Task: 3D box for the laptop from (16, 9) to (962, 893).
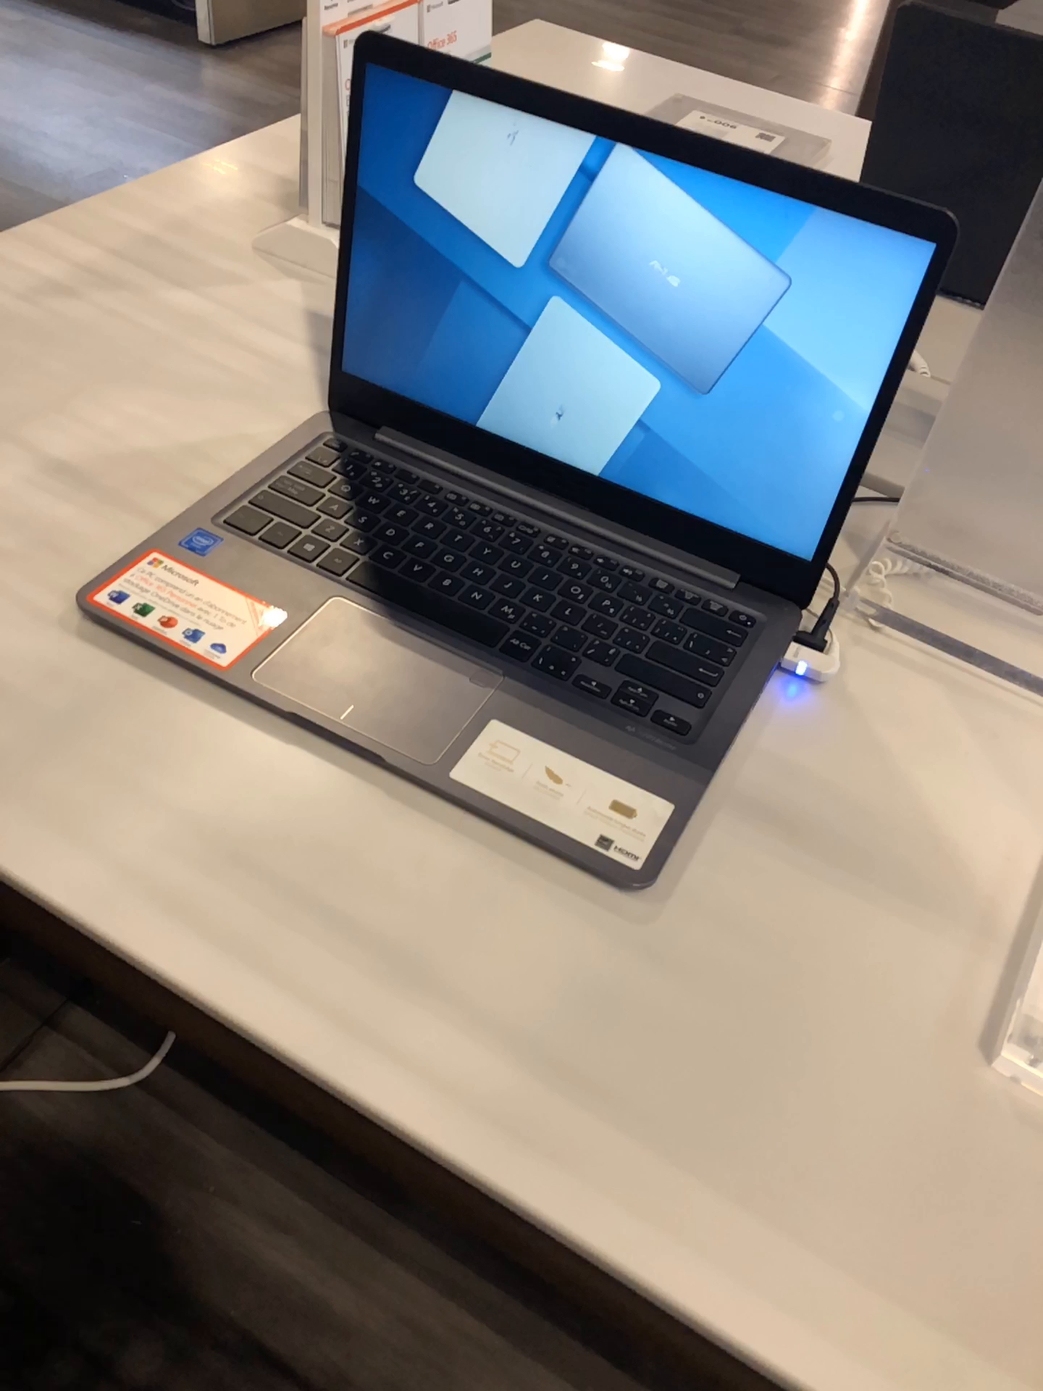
[{"bbox_3d":[-0.004,-0.148,0.577,0.333,0.180,0.301,24,52,13],"label":"laptop"}]
